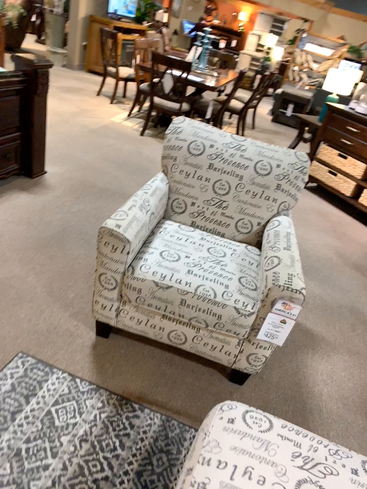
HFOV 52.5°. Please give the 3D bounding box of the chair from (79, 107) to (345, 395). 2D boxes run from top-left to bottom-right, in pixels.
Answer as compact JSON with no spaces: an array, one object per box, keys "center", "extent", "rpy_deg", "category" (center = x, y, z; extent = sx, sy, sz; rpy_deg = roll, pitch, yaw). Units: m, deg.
[{"center":[0.117,-0.045,1.832],"extent":[0.834,0.870,0.920],"rpy_deg":[18,31,4],"category":"chair"}]
